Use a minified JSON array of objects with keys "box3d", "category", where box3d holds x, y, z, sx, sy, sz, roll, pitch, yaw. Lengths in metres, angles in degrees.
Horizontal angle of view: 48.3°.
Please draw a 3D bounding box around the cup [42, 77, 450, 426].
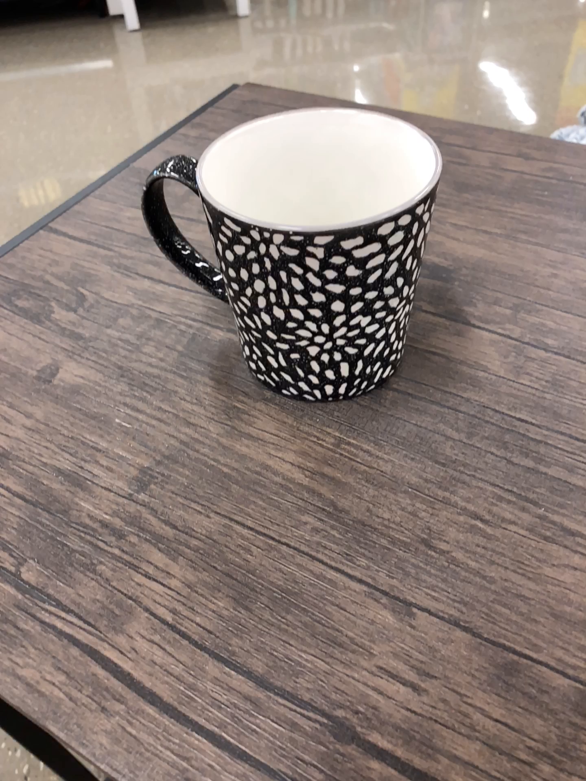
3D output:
[{"box3d":[-0.013,-0.069,0.306,0.140,0.100,0.100,14,49,17],"category":"cup"}]
